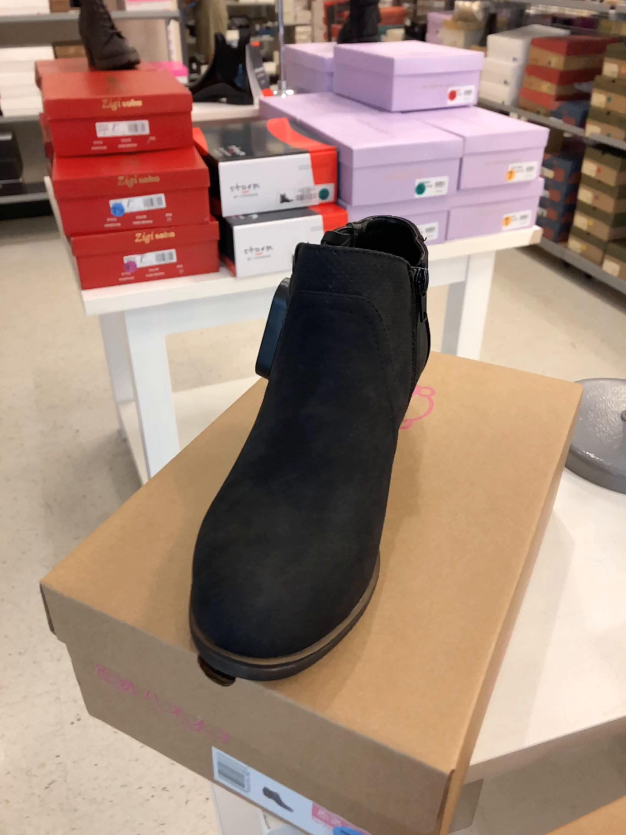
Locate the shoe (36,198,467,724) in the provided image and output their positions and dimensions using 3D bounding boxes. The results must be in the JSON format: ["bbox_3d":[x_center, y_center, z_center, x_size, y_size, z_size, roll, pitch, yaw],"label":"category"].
[{"bbox_3d":[-0.001,-0.010,0.351,0.100,0.119,0.262,12,36,16],"label":"shoe"}]
